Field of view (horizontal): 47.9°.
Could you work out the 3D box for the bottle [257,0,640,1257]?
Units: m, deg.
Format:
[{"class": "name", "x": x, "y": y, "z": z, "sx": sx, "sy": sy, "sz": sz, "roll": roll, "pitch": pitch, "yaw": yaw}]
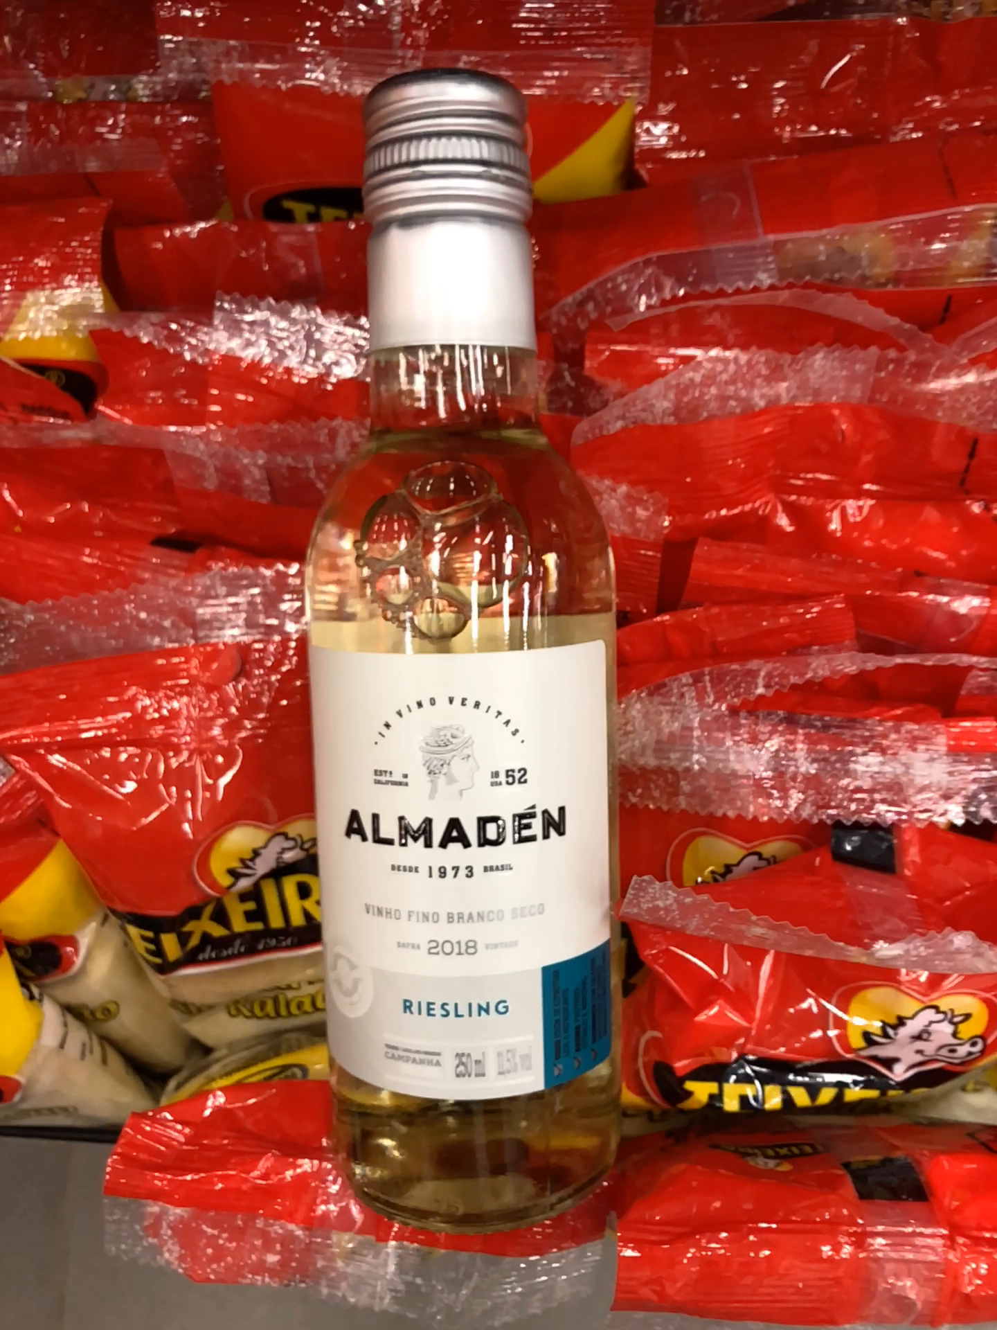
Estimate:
[{"class": "bottle", "x": -0.006, "y": -0.007, "z": 0.203, "sx": 0.060, "sy": 0.040, "sz": 0.210, "roll": 0, "pitch": 95, "yaw": 6}]
